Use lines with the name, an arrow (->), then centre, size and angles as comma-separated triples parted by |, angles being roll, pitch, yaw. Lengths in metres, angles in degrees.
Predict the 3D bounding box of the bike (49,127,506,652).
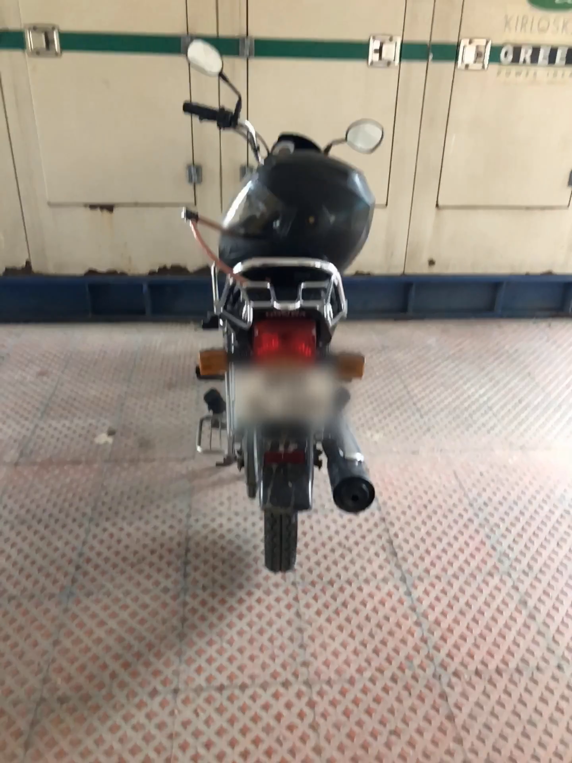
bike -> 0.027, -0.224, 2.114 | 0.735, 1.087, 1.868 | 3, 25, 2
